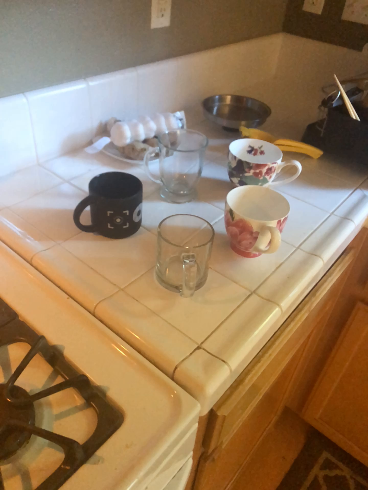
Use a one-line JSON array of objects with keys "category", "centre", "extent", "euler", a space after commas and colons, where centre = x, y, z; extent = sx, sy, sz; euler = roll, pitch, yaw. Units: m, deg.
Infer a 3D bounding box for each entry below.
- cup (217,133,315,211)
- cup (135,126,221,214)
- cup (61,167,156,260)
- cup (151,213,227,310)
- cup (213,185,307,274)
[{"category": "cup", "centre": [0.164, -0.150, 0.820], "extent": [0.160, 0.079, 0.101], "euler": [21, 42, 17]}, {"category": "cup", "centre": [-0.016, -0.142, 0.752], "extent": [0.120, 0.109, 0.101], "euler": [-14, 44, -24]}, {"category": "cup", "centre": [-0.113, -0.052, 0.619], "extent": [0.080, 0.079, 0.111], "euler": [35, 47, 30]}, {"category": "cup", "centre": [0.002, 0.021, 0.604], "extent": [0.090, 0.079, 0.121], "euler": [-1, 40, -9]}, {"category": "cup", "centre": [0.110, -0.027, 0.628], "extent": [0.100, 0.069, 0.131], "euler": [0, 40, -8]}]
